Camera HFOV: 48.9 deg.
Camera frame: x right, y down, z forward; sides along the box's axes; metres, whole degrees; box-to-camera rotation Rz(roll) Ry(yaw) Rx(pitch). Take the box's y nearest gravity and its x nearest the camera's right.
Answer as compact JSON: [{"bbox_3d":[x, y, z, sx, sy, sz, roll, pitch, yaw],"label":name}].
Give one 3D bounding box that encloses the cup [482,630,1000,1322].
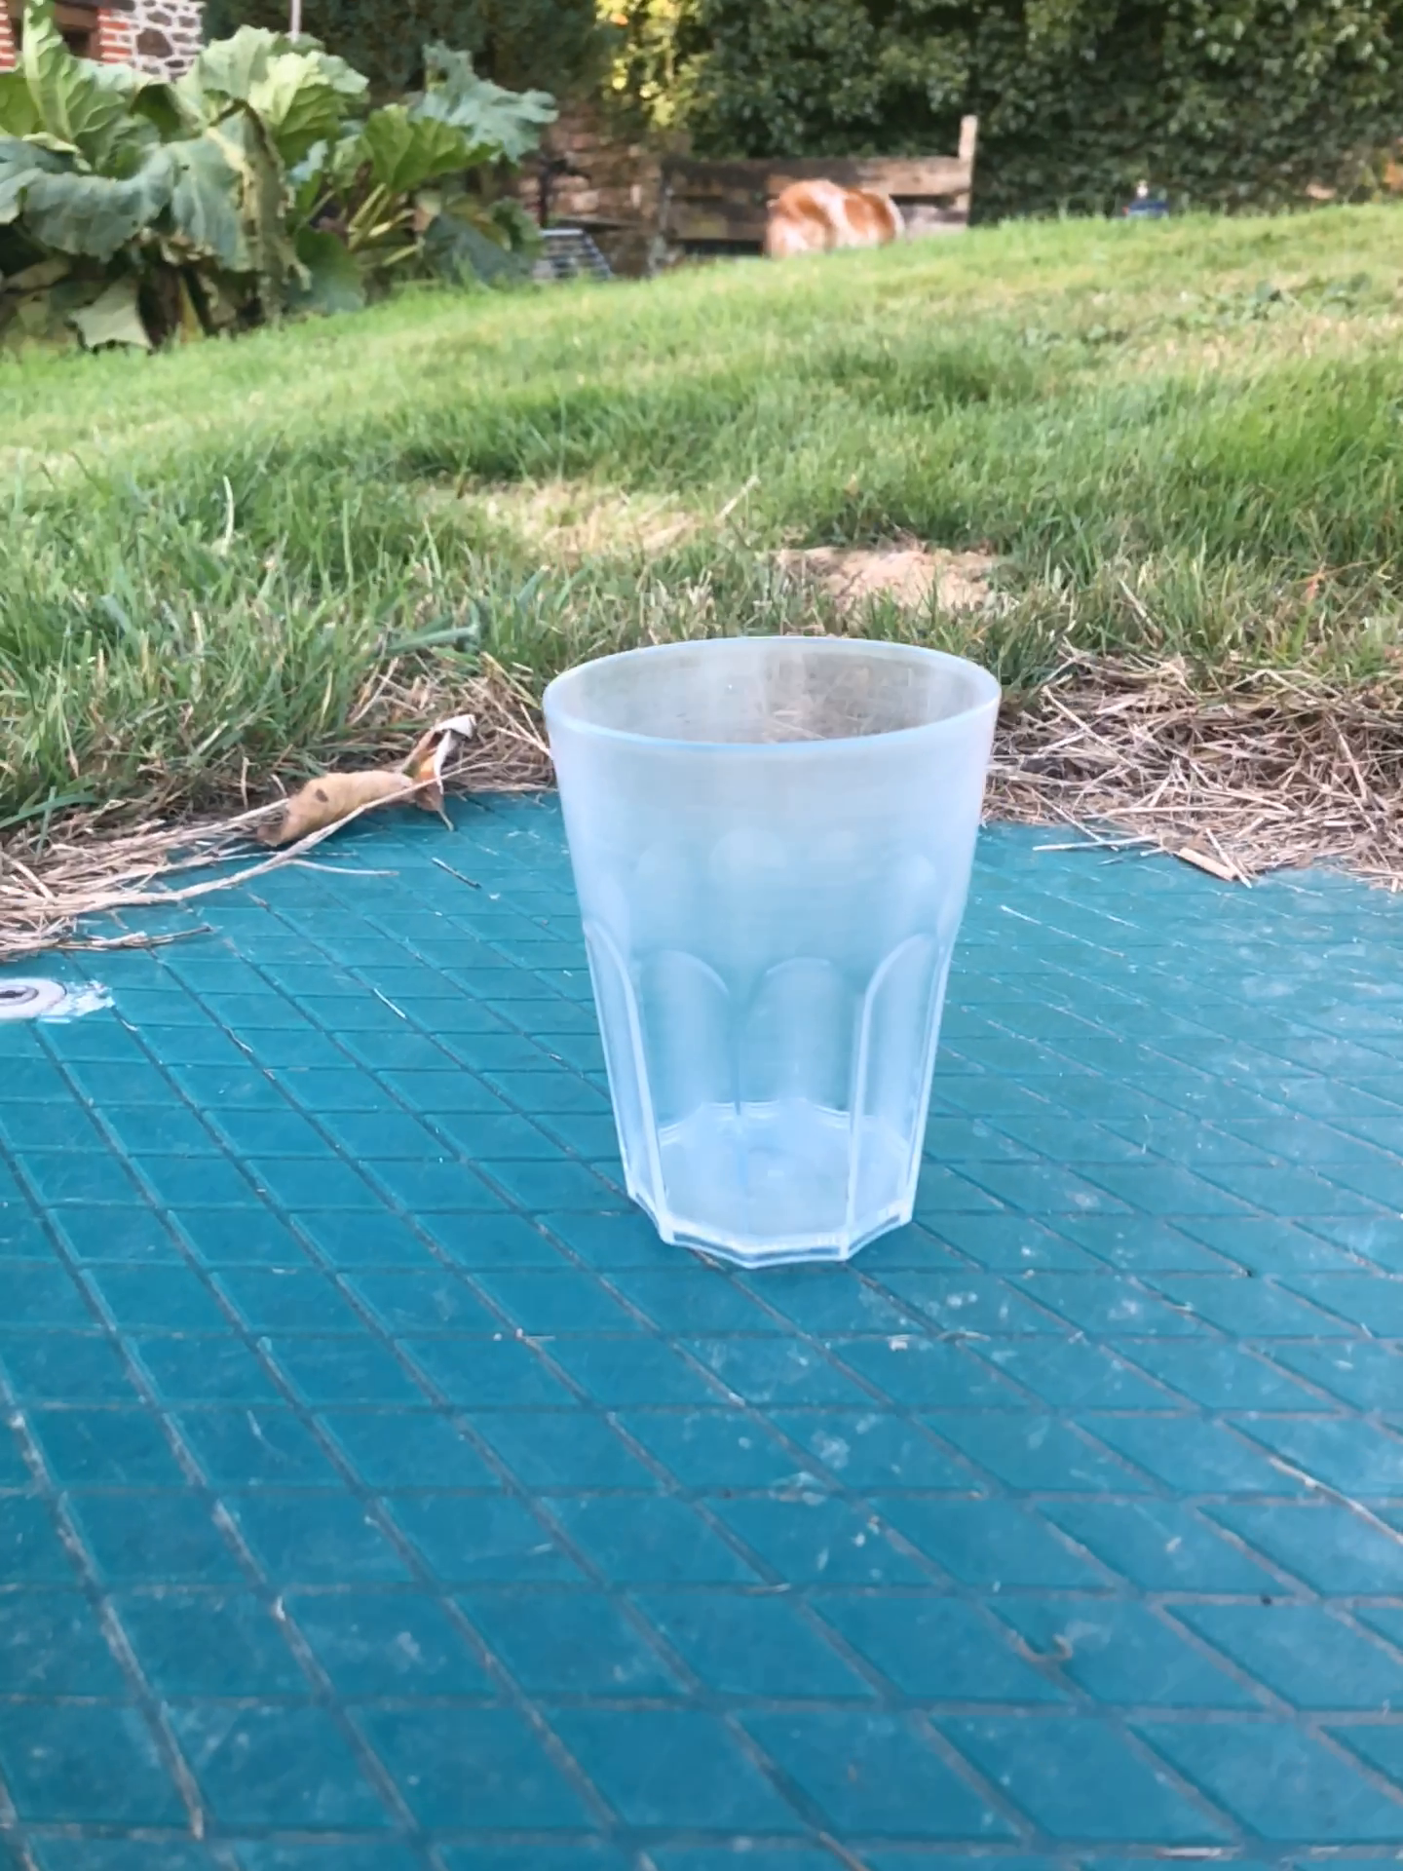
[{"bbox_3d":[0.014,0.002,0.319,0.087,0.113,0.092,-1,21,1],"label":"cup"}]
